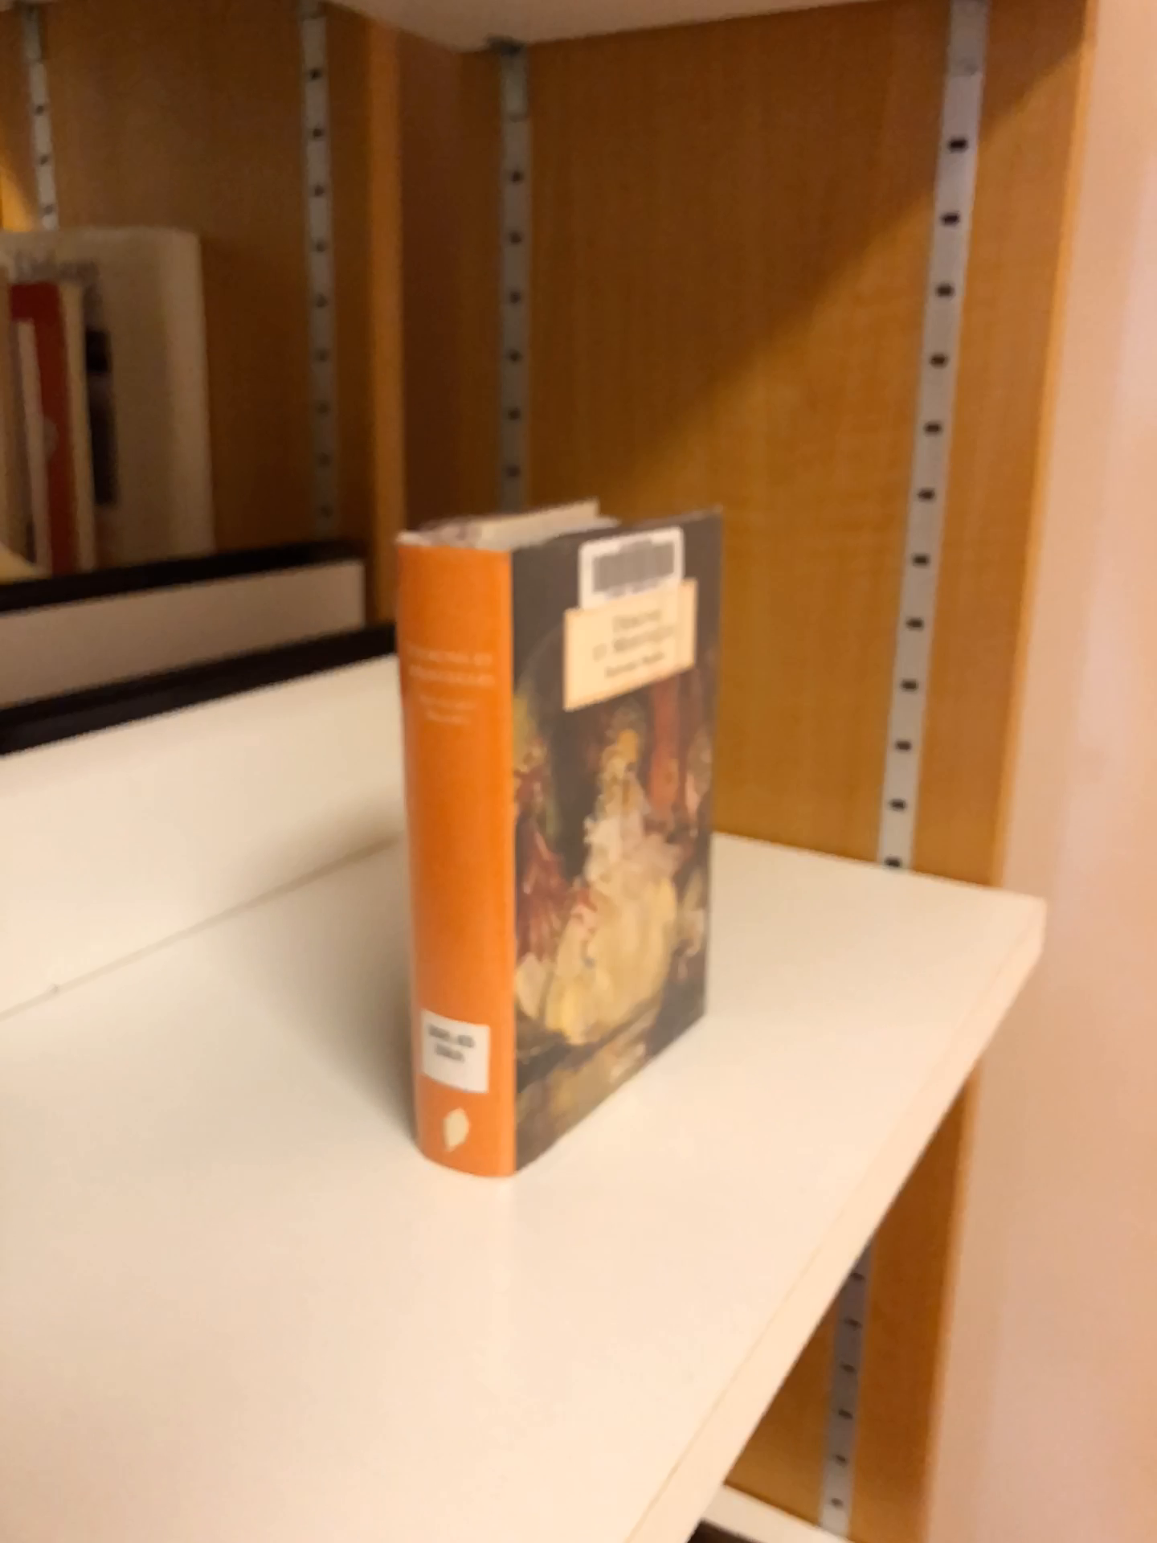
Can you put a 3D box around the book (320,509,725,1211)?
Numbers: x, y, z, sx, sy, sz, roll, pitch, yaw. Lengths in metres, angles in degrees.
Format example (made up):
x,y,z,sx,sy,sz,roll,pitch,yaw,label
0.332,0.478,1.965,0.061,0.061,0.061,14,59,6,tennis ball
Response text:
x,y,z,sx,sy,sz,roll,pitch,yaw,label
-0.009,0.013,0.348,0.047,0.155,0.114,9,17,30,book
